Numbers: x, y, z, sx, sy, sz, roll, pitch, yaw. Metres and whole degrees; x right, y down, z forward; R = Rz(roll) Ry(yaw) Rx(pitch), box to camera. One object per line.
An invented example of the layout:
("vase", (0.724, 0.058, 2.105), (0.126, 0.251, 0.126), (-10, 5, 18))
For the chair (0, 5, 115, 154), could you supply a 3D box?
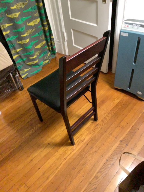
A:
("chair", (-0.089, -0.109, 1.117), (0.553, 0.865, 0.491), (29, 55, 33))
